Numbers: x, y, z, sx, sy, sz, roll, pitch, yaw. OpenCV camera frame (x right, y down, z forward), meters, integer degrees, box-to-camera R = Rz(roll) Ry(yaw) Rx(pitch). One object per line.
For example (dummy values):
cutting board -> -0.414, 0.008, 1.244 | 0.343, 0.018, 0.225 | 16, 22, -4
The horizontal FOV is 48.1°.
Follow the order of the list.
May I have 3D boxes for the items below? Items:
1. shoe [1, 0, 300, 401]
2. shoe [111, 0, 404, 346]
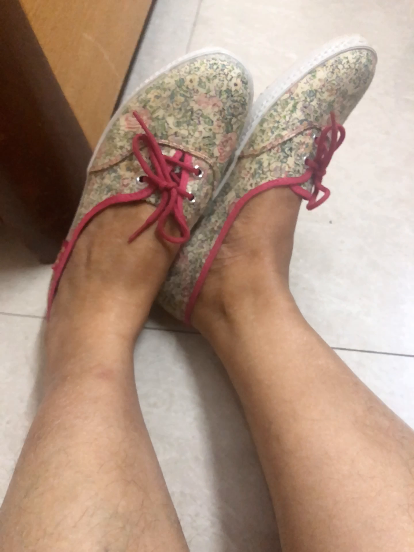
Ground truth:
shoe -> -0.051, -0.041, 0.337 | 0.259, 0.090, 0.070 | -60, 23, 17
shoe -> 0.034, -0.068, 0.378 | 0.070, 0.090, 0.259 | 45, 110, 36
